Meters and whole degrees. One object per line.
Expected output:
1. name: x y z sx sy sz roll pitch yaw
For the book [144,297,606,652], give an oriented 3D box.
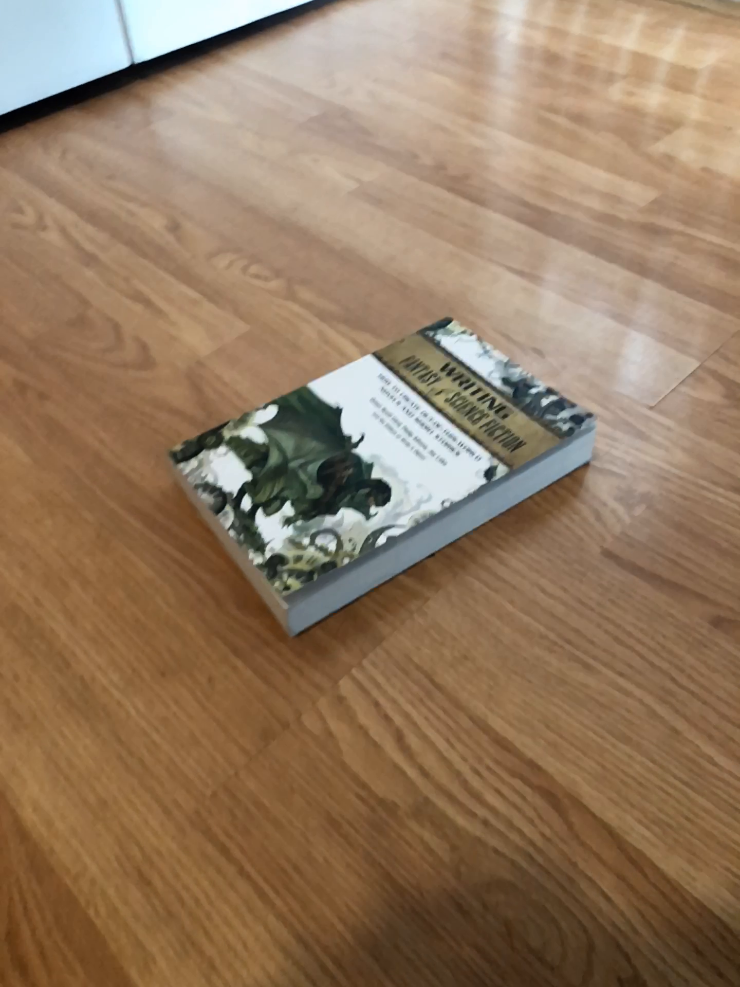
1. book: 0.002 -0.028 0.513 0.228 0.040 0.165 -28 52 -21
